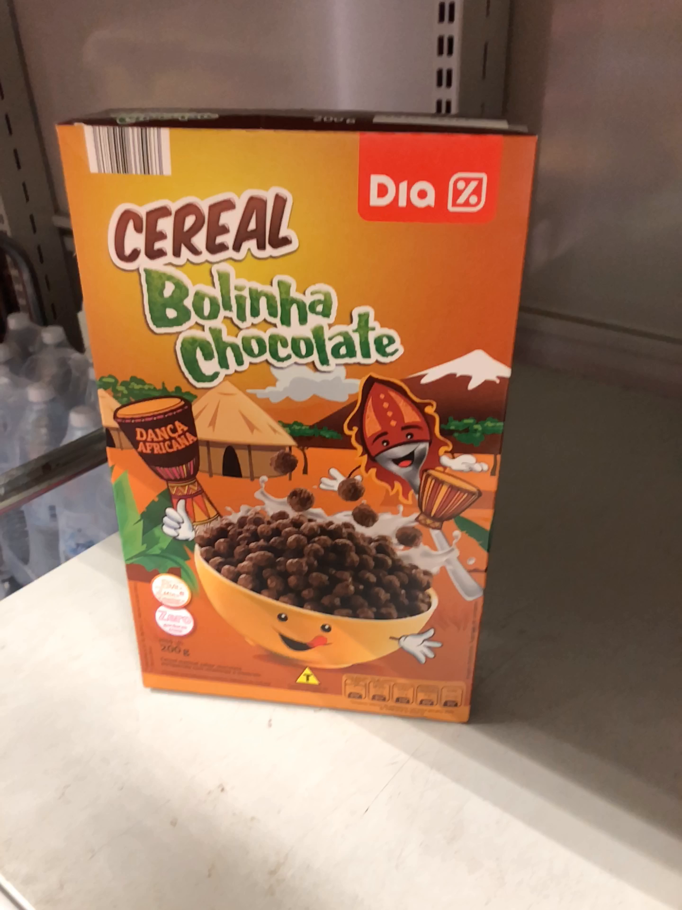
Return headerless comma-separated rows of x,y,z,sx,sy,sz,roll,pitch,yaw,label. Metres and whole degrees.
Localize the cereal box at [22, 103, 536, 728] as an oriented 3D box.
-0.023,-0.008,0.331,0.170,0.258,0.060,5,27,6,cereal box
